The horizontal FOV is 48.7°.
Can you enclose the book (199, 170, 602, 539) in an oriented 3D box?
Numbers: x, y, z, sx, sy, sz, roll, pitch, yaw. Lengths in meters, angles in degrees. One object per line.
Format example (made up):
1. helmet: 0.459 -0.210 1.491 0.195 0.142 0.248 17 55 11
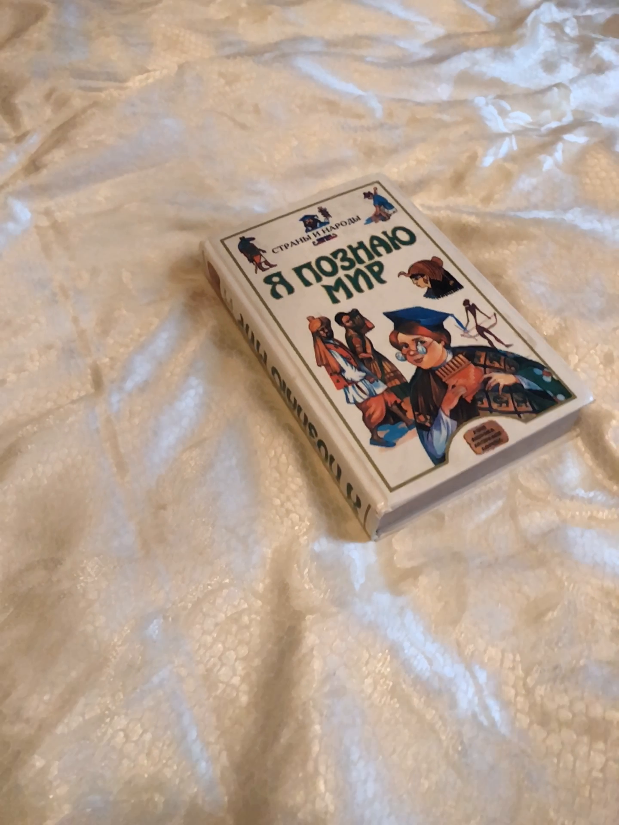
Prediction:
1. book: 0.041 -0.046 0.389 0.134 0.037 0.198 -25 60 -16
